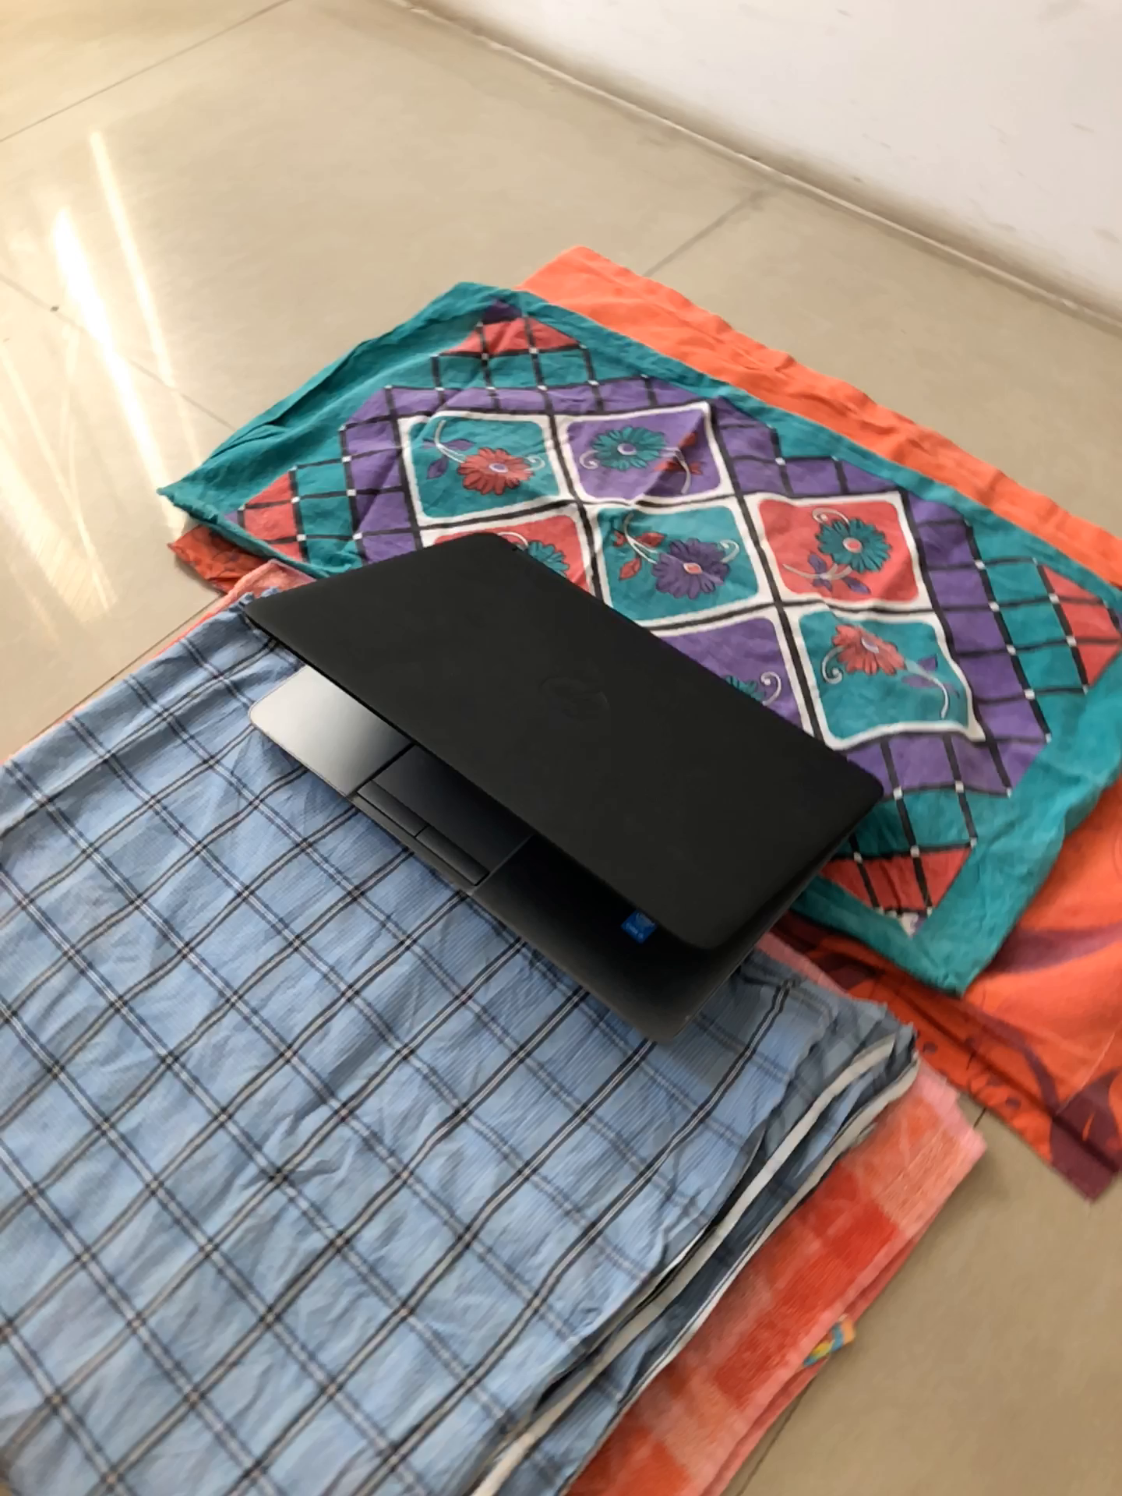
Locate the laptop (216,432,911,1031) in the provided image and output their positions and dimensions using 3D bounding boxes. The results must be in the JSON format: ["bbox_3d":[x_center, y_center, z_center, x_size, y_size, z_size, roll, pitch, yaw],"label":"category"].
[{"bbox_3d":[0.003,-0.026,0.721,0.322,0.099,0.213,36,56,19],"label":"laptop"}]
